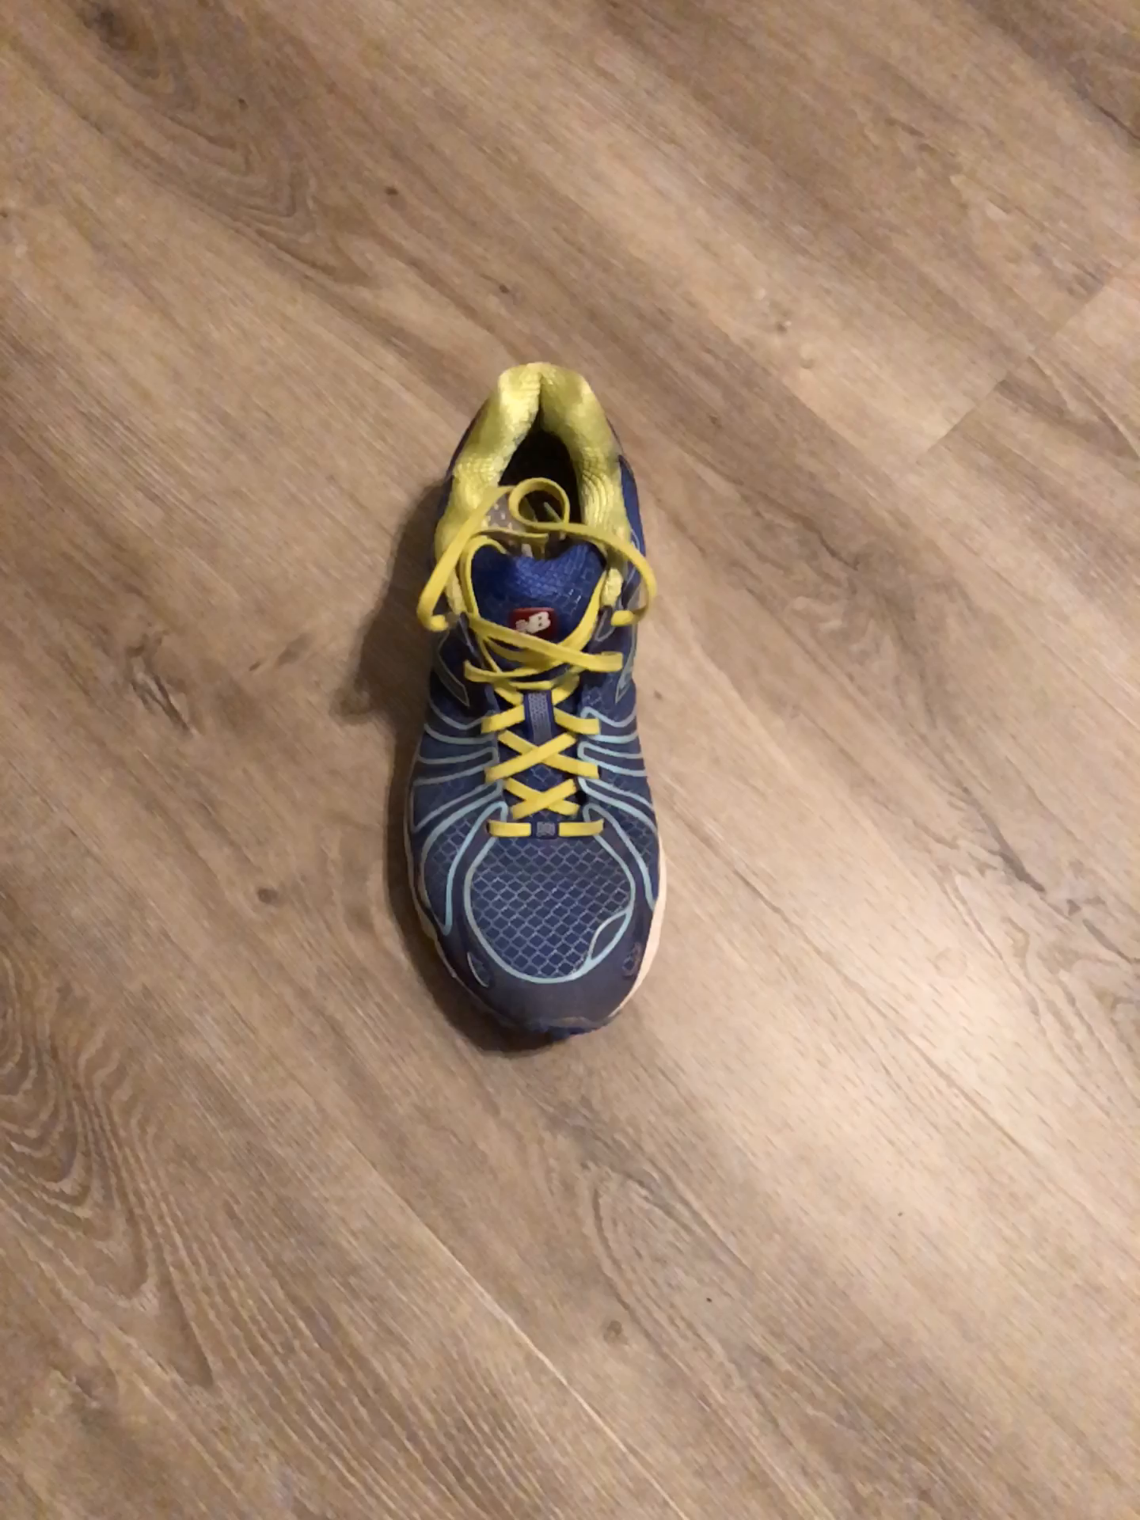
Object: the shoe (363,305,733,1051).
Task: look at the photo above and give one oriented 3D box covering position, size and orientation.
[{"bbox_3d":[-0.010,-0.027,0.459,0.110,0.100,0.250,0,73,-3],"label":"shoe"}]
